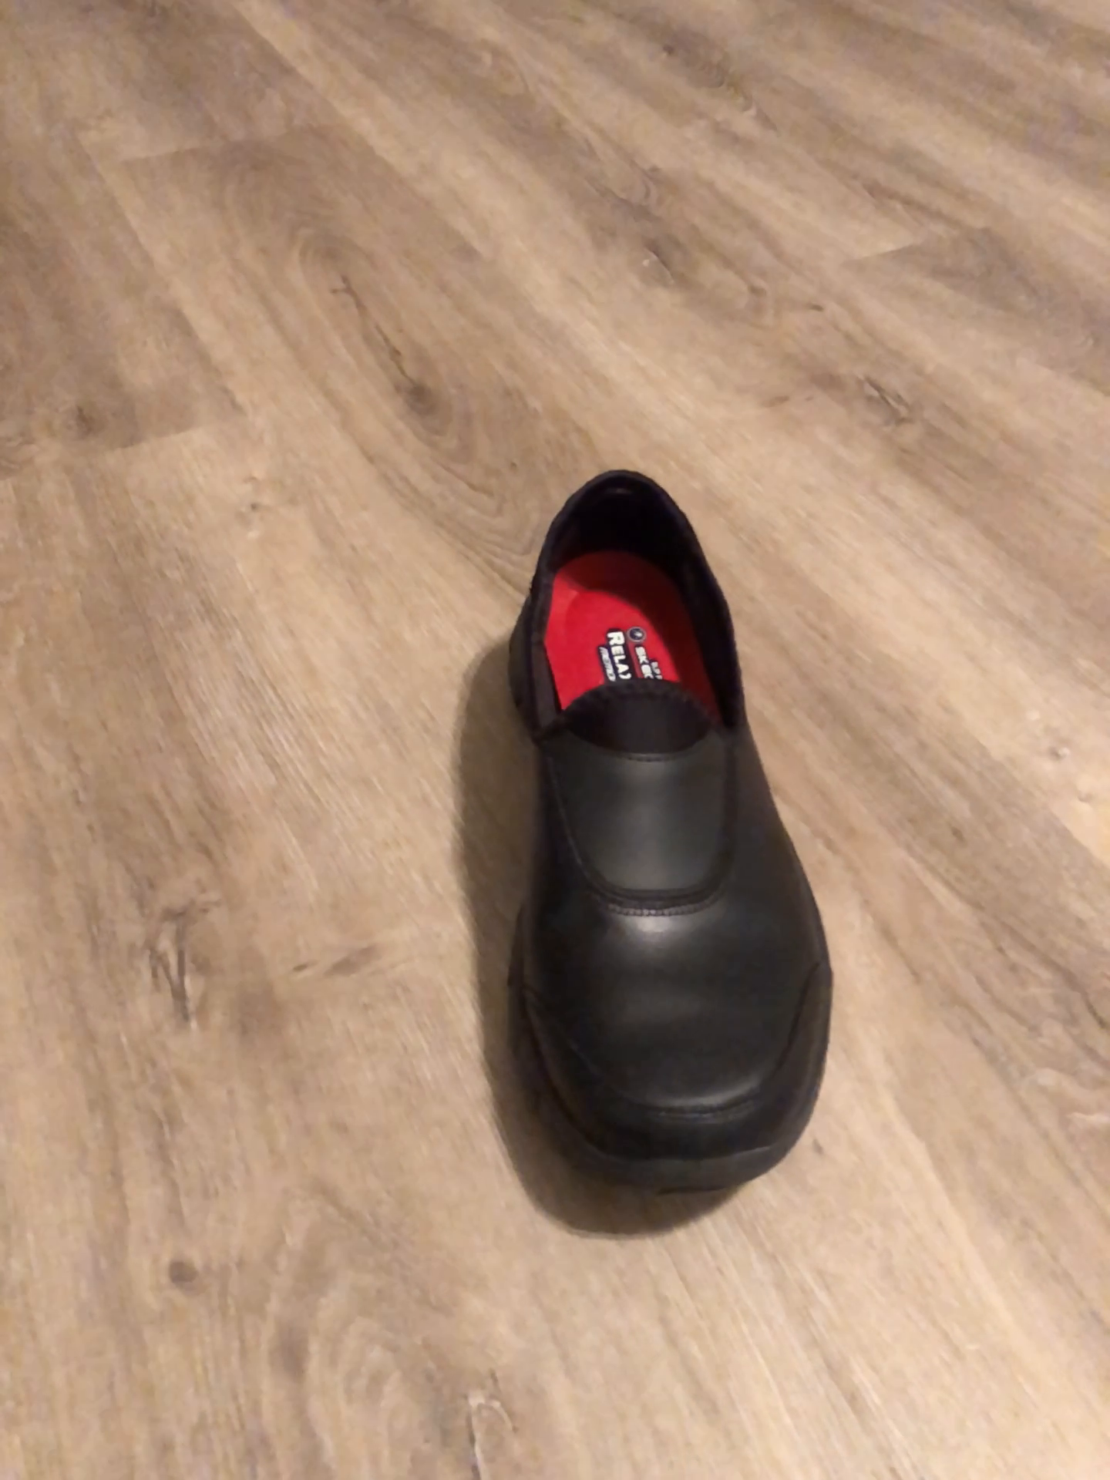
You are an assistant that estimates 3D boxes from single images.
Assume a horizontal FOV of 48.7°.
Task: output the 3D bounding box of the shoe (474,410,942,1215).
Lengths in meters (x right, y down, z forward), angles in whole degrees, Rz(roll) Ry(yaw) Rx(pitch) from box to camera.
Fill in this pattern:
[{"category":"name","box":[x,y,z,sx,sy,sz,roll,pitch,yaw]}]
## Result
[{"category":"shoe","box":[0.027,0.004,0.376,0.090,0.090,0.241,-3,46,-4]}]
